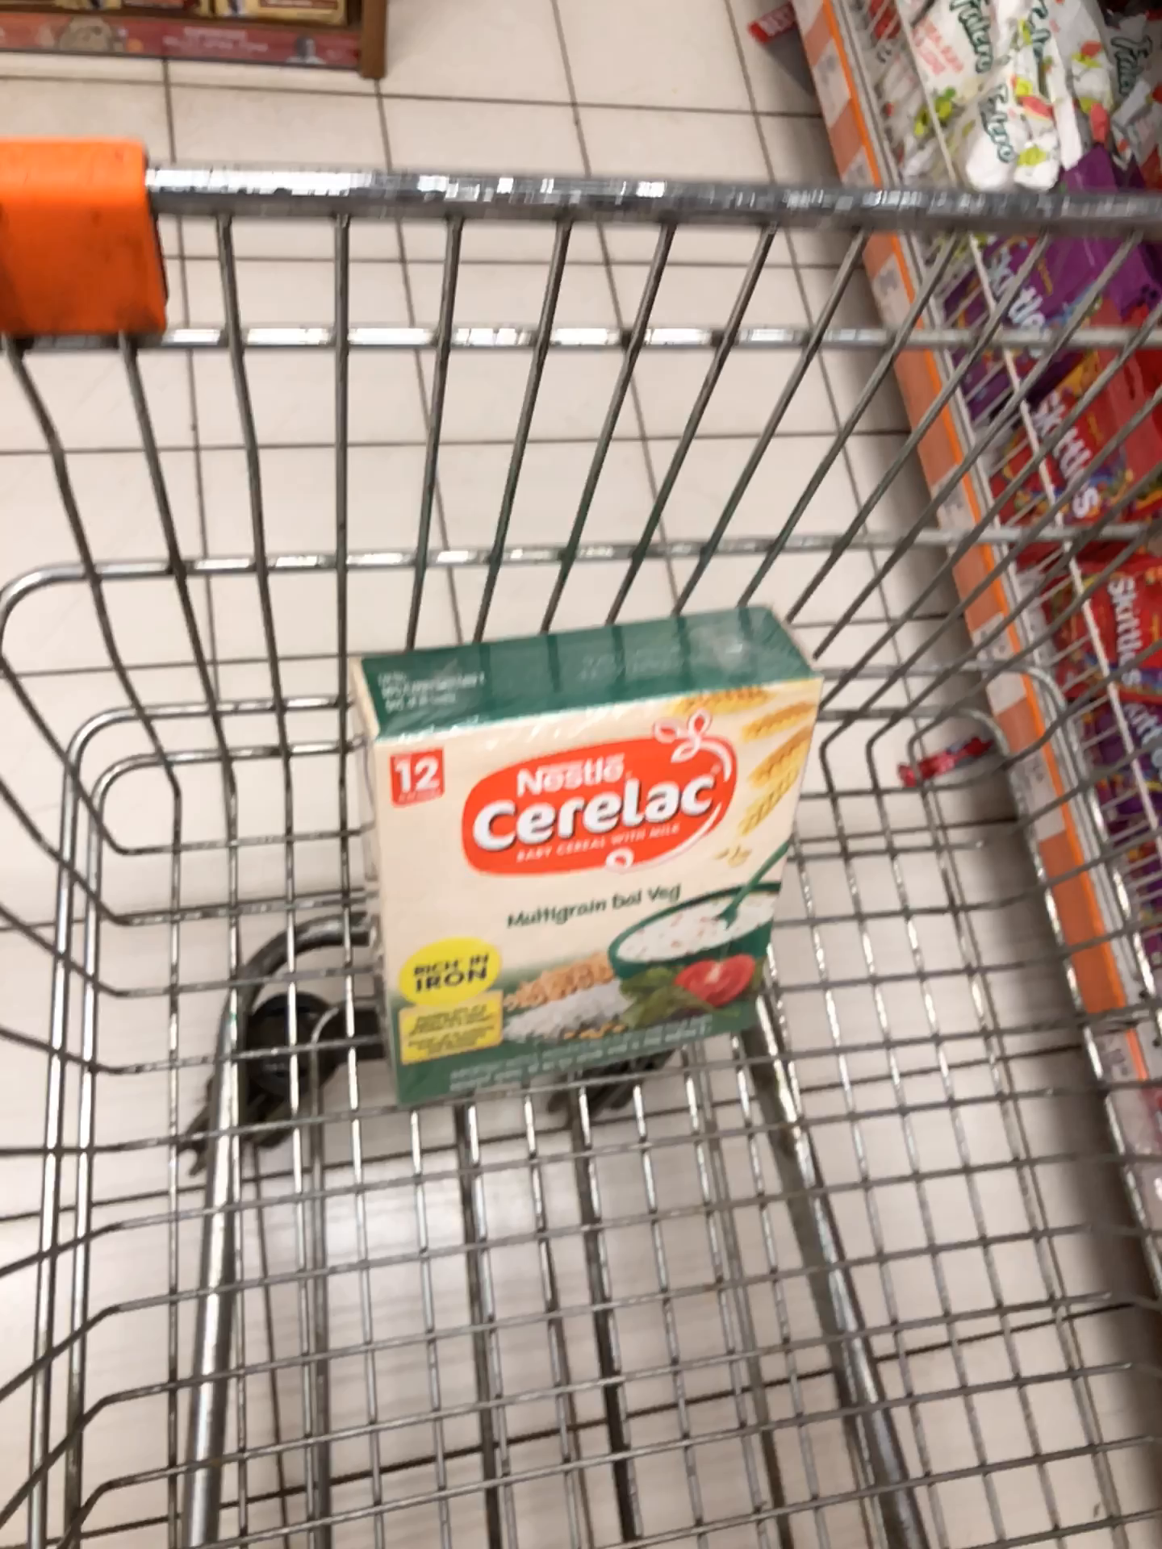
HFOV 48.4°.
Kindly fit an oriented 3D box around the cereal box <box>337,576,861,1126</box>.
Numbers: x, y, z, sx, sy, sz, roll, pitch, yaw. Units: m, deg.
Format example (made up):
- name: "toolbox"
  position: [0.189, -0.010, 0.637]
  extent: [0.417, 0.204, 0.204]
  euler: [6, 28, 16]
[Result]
- name: "cereal box"
  position: [0.002, 0.032, 0.473]
  extent: [0.160, 0.189, 0.050]
  euler: [-9, 41, -16]
